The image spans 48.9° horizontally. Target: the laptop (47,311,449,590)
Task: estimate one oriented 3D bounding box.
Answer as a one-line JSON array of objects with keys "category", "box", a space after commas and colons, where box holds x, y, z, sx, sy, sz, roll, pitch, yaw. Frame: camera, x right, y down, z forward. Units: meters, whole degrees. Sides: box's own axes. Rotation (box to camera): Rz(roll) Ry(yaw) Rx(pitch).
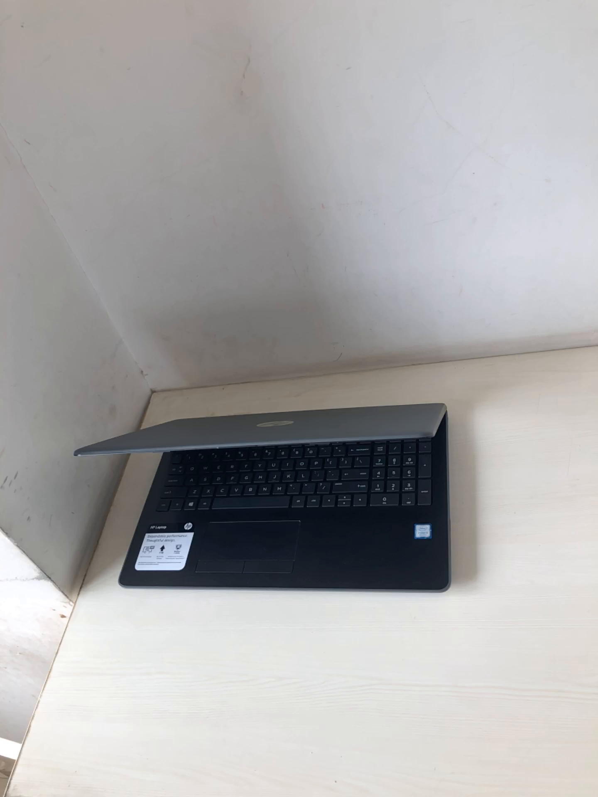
[{"category": "laptop", "box": [-0.031, 0.055, 0.716, 0.356, 0.157, 0.245, -4, 43, 14]}]
